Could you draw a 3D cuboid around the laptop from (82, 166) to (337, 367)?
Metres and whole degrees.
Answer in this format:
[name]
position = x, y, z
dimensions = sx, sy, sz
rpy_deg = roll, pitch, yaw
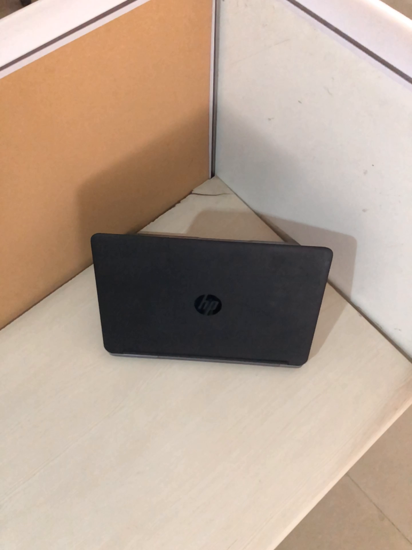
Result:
[laptop]
position = 0.008, -0.005, 0.700
dimensions = 0.318, 0.193, 0.228
rpy_deg = 3, 65, 0
